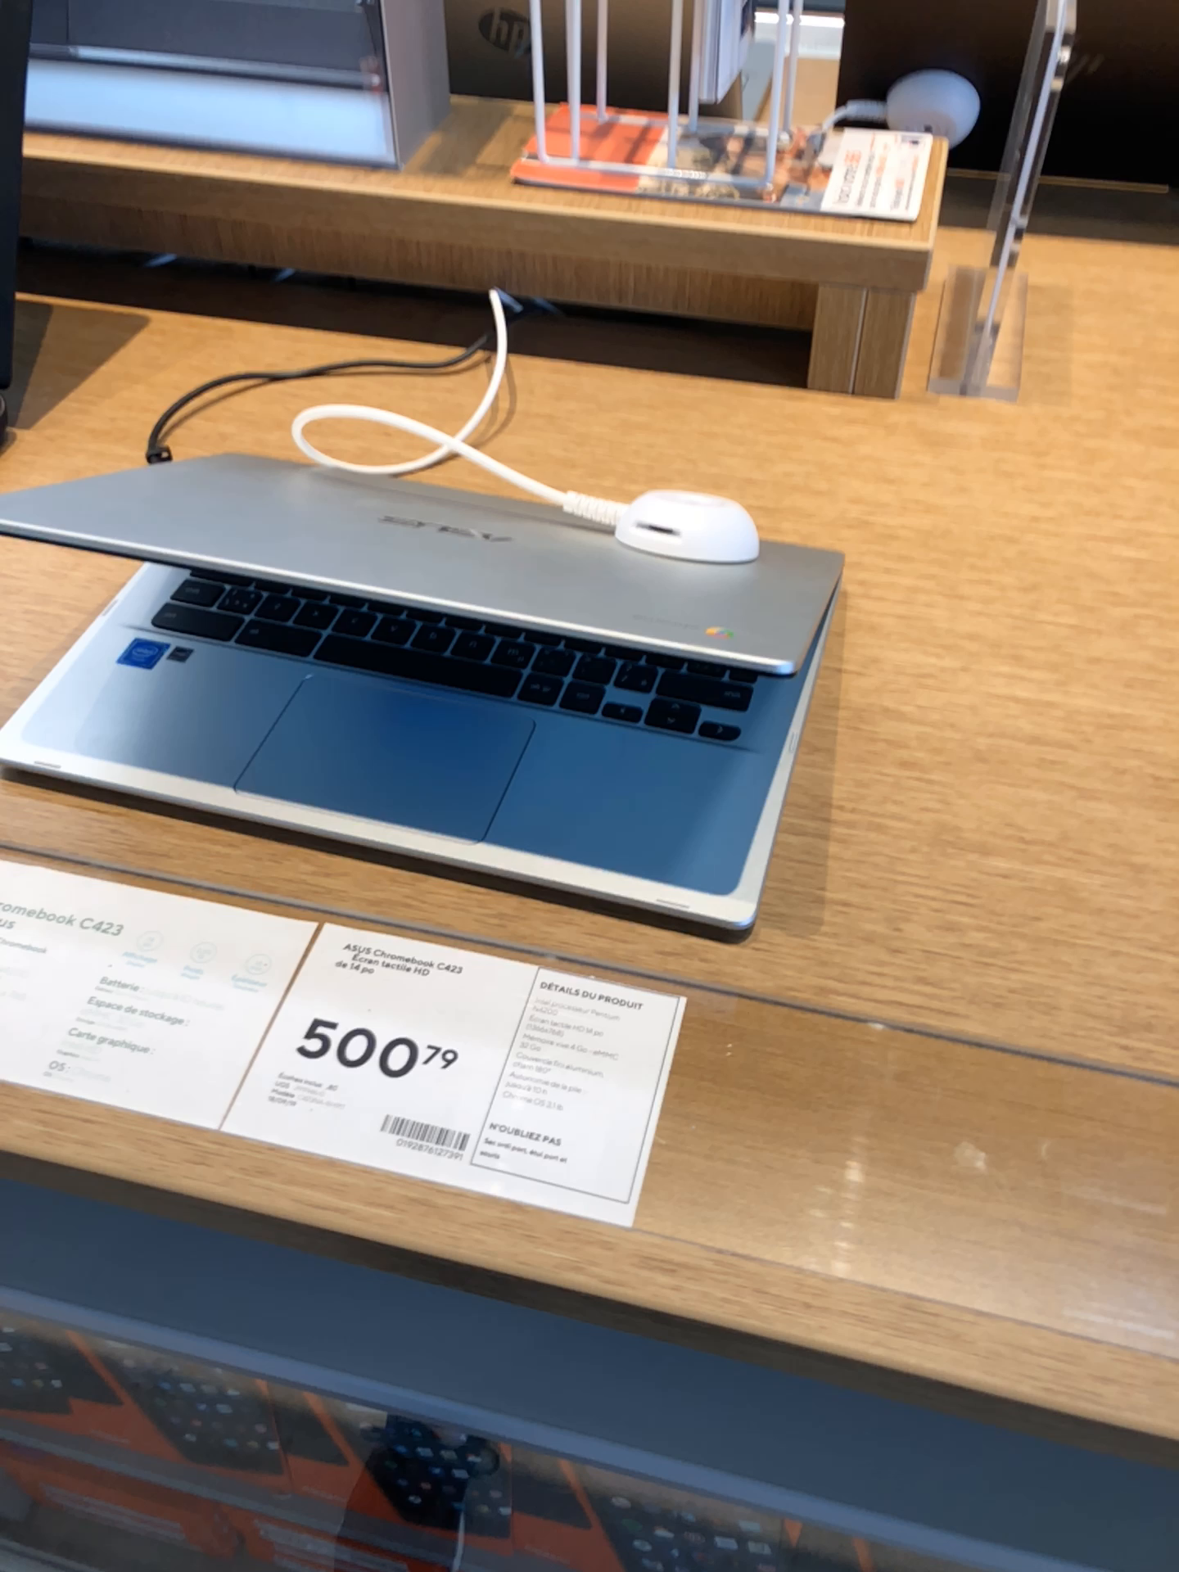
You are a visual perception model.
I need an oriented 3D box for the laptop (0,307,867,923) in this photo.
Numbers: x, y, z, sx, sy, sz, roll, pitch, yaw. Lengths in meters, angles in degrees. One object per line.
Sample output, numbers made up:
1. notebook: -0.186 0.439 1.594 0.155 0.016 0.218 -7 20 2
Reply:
1. laptop: -0.060 -0.084 0.528 0.304 0.080 0.206 12 50 10
